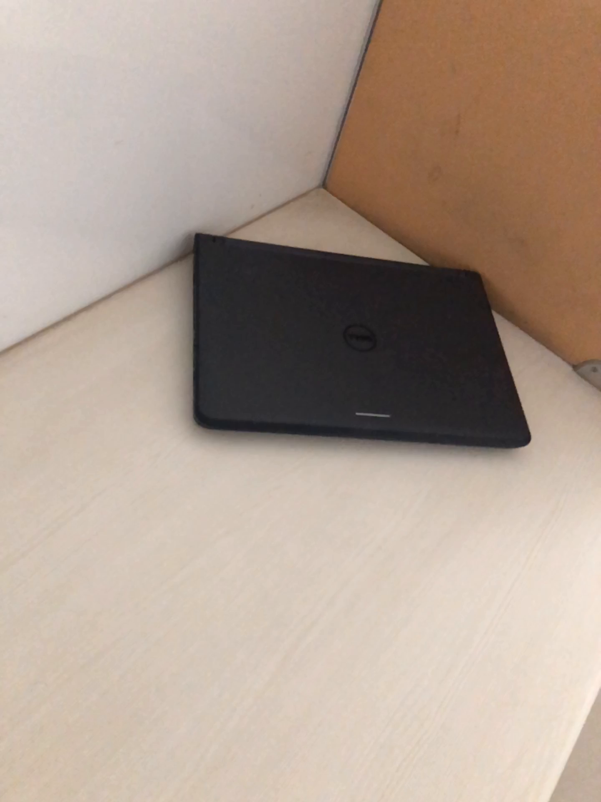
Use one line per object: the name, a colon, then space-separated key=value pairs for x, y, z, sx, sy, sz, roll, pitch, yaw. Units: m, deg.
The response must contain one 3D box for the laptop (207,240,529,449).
laptop: x=0.057 y=-0.060 z=0.654 sx=0.290 sy=0.007 sz=0.228 roll=4 pitch=52 yaw=-14
